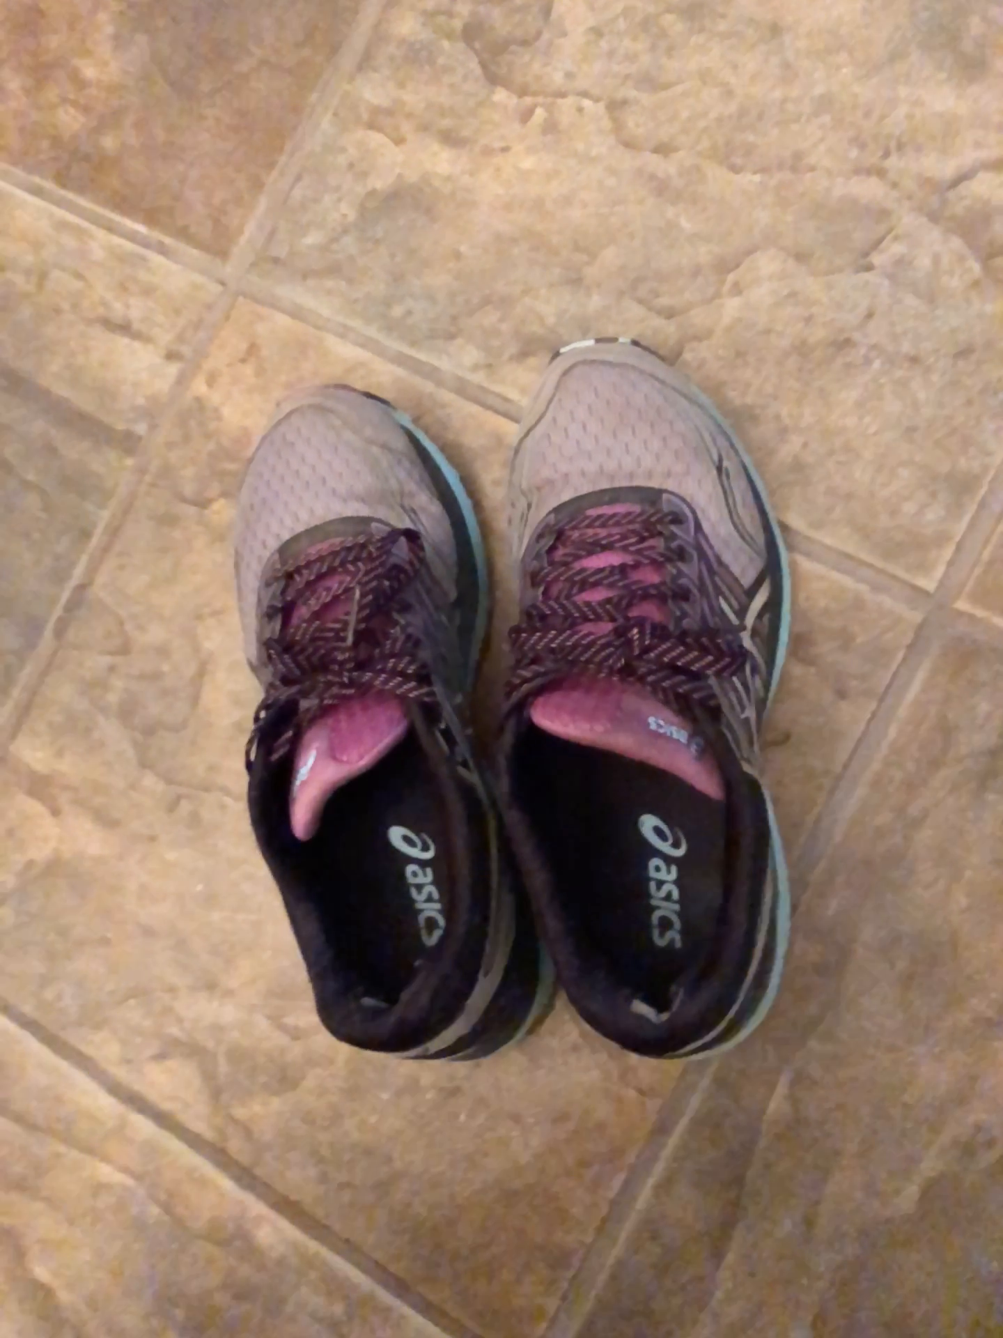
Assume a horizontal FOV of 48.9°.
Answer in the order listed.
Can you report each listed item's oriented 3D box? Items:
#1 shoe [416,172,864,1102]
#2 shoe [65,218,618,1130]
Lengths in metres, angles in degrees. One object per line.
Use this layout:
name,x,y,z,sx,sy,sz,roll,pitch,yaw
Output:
shoe,0.052,-0.006,0.401,0.110,0.120,0.280,-7,83,14
shoe,-0.055,0.003,0.419,0.110,0.120,0.280,-17,81,12
